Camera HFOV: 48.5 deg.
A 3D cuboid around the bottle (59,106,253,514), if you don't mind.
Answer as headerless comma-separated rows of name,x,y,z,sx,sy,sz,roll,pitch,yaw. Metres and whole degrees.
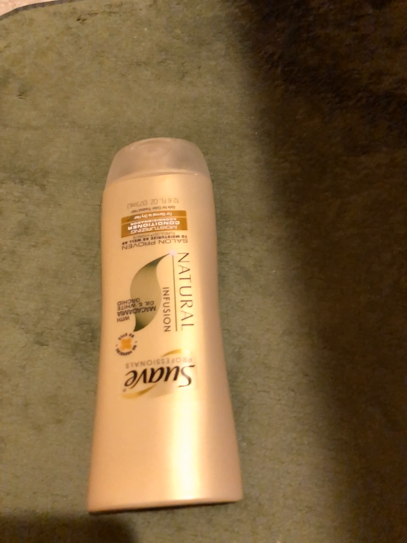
bottle,-0.026,0.010,0.257,0.080,0.050,0.220,-6,63,4
